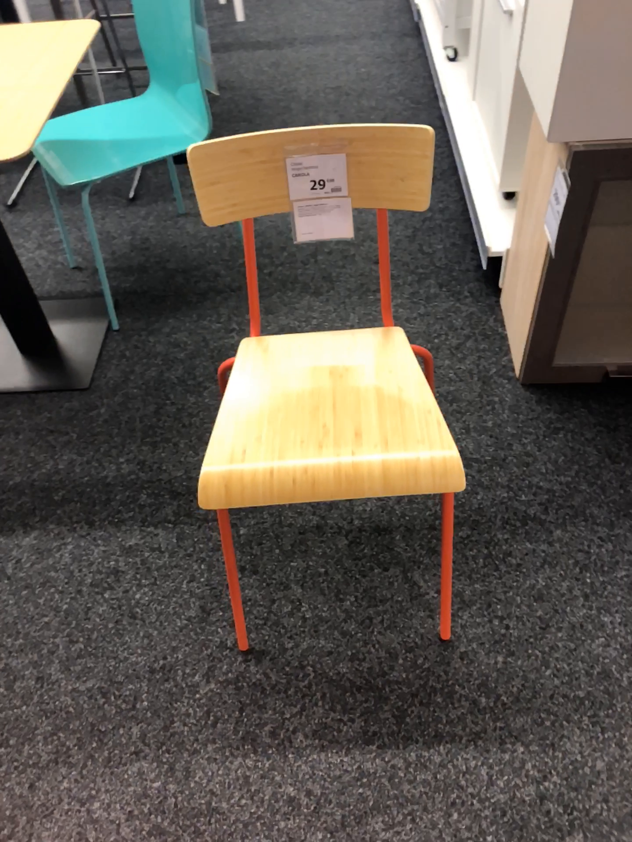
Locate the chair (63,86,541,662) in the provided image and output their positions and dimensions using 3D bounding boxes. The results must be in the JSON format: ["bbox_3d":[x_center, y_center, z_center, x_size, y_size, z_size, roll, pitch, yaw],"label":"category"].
[{"bbox_3d":[0.005,-0.034,1.211,0.500,0.815,0.563,-4,47,2],"label":"chair"}]
